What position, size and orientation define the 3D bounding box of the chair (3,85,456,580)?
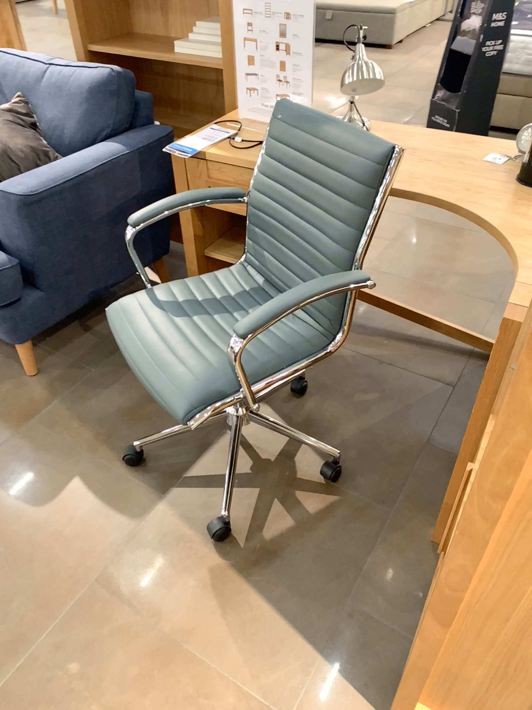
[{"bbox_3d":[-0.100,-0.095,1.406,0.709,0.883,0.669,-22,44,-23],"label":"chair"}]
